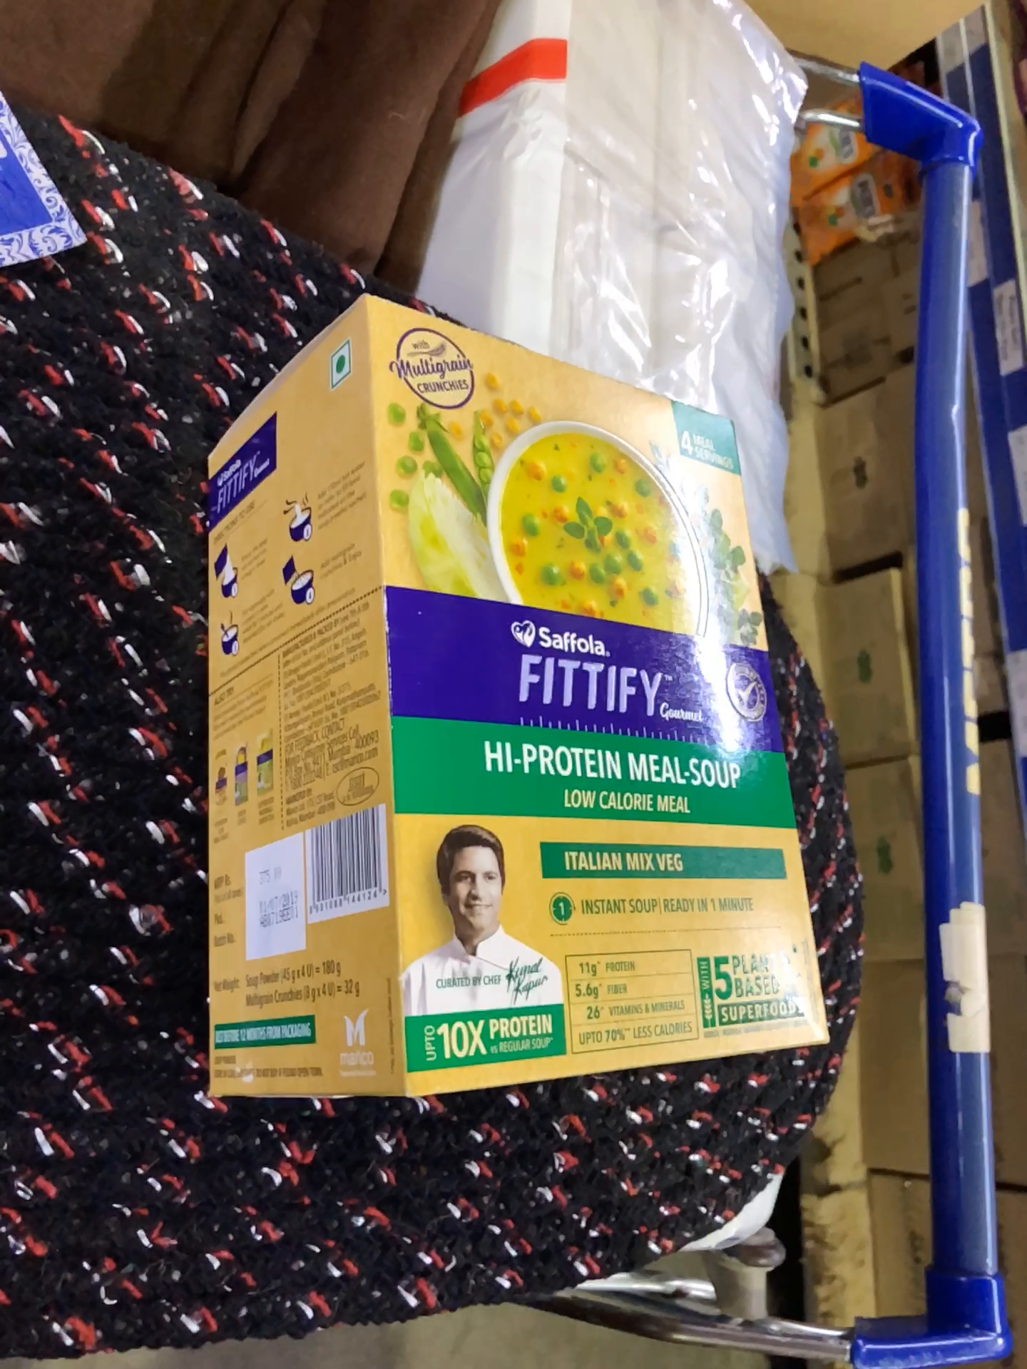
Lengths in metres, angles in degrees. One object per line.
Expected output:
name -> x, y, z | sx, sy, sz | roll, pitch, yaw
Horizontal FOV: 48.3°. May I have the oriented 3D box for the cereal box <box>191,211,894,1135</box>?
cereal box -> 0.002, 0.006, 0.270 | 0.131, 0.080, 0.170 | 8, 70, -36
